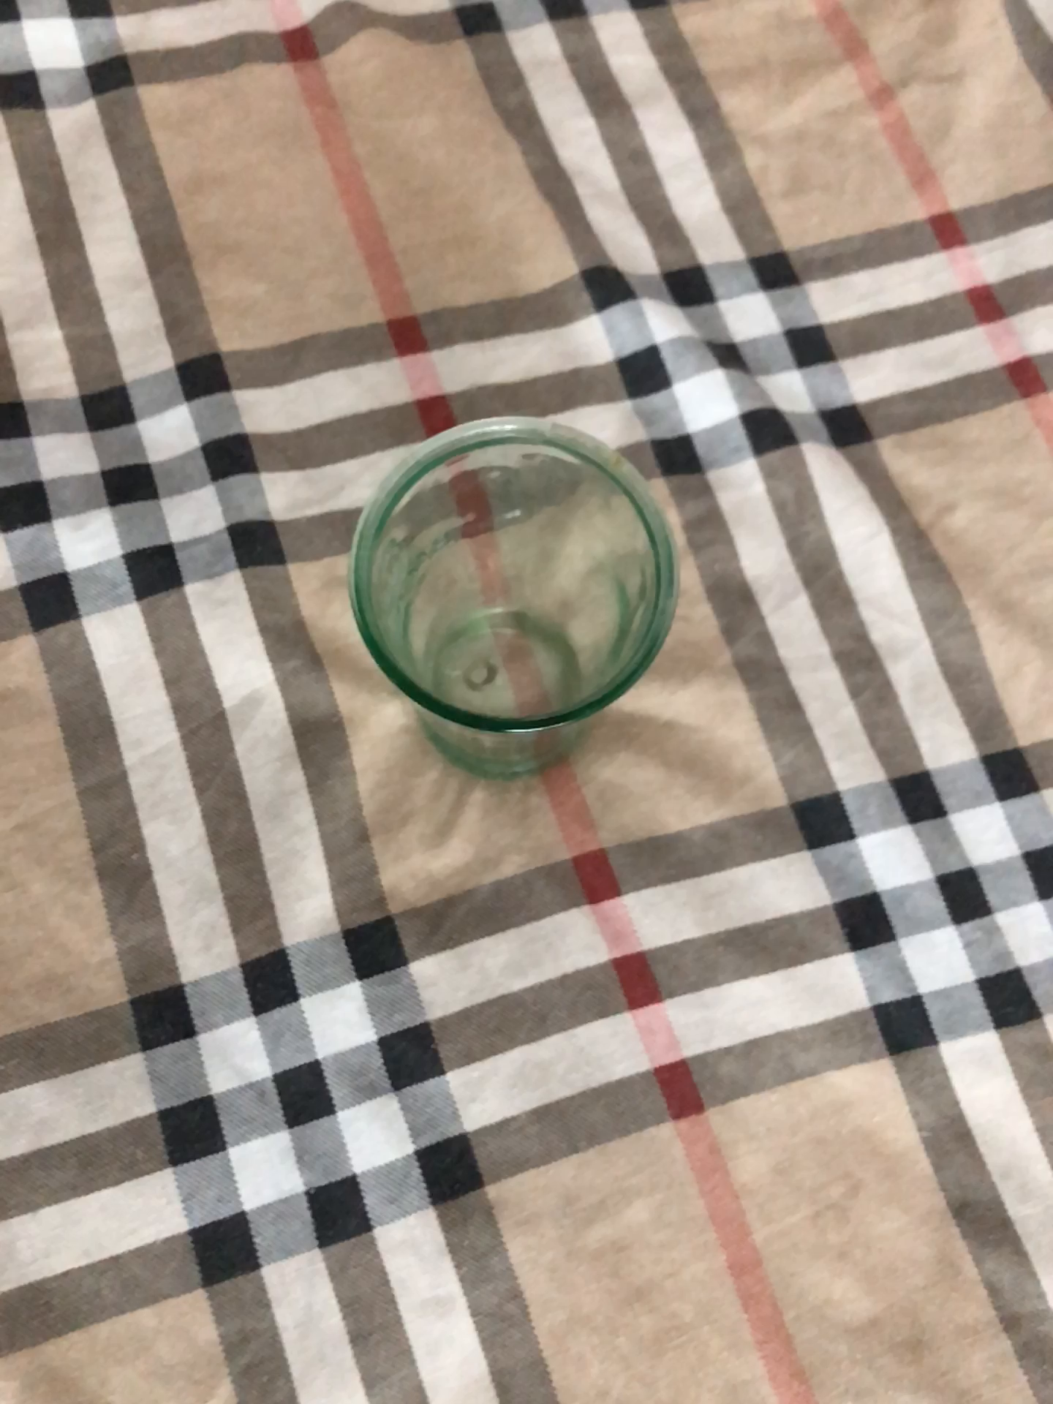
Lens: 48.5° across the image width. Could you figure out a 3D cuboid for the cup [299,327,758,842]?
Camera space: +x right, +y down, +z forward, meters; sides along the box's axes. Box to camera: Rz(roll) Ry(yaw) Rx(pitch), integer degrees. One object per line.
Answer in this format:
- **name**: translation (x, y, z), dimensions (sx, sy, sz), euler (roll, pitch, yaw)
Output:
- **cup**: translation (-0.002, -0.023, 0.319), dimensions (0.082, 0.112, 0.085), euler (1, 75, -5)
